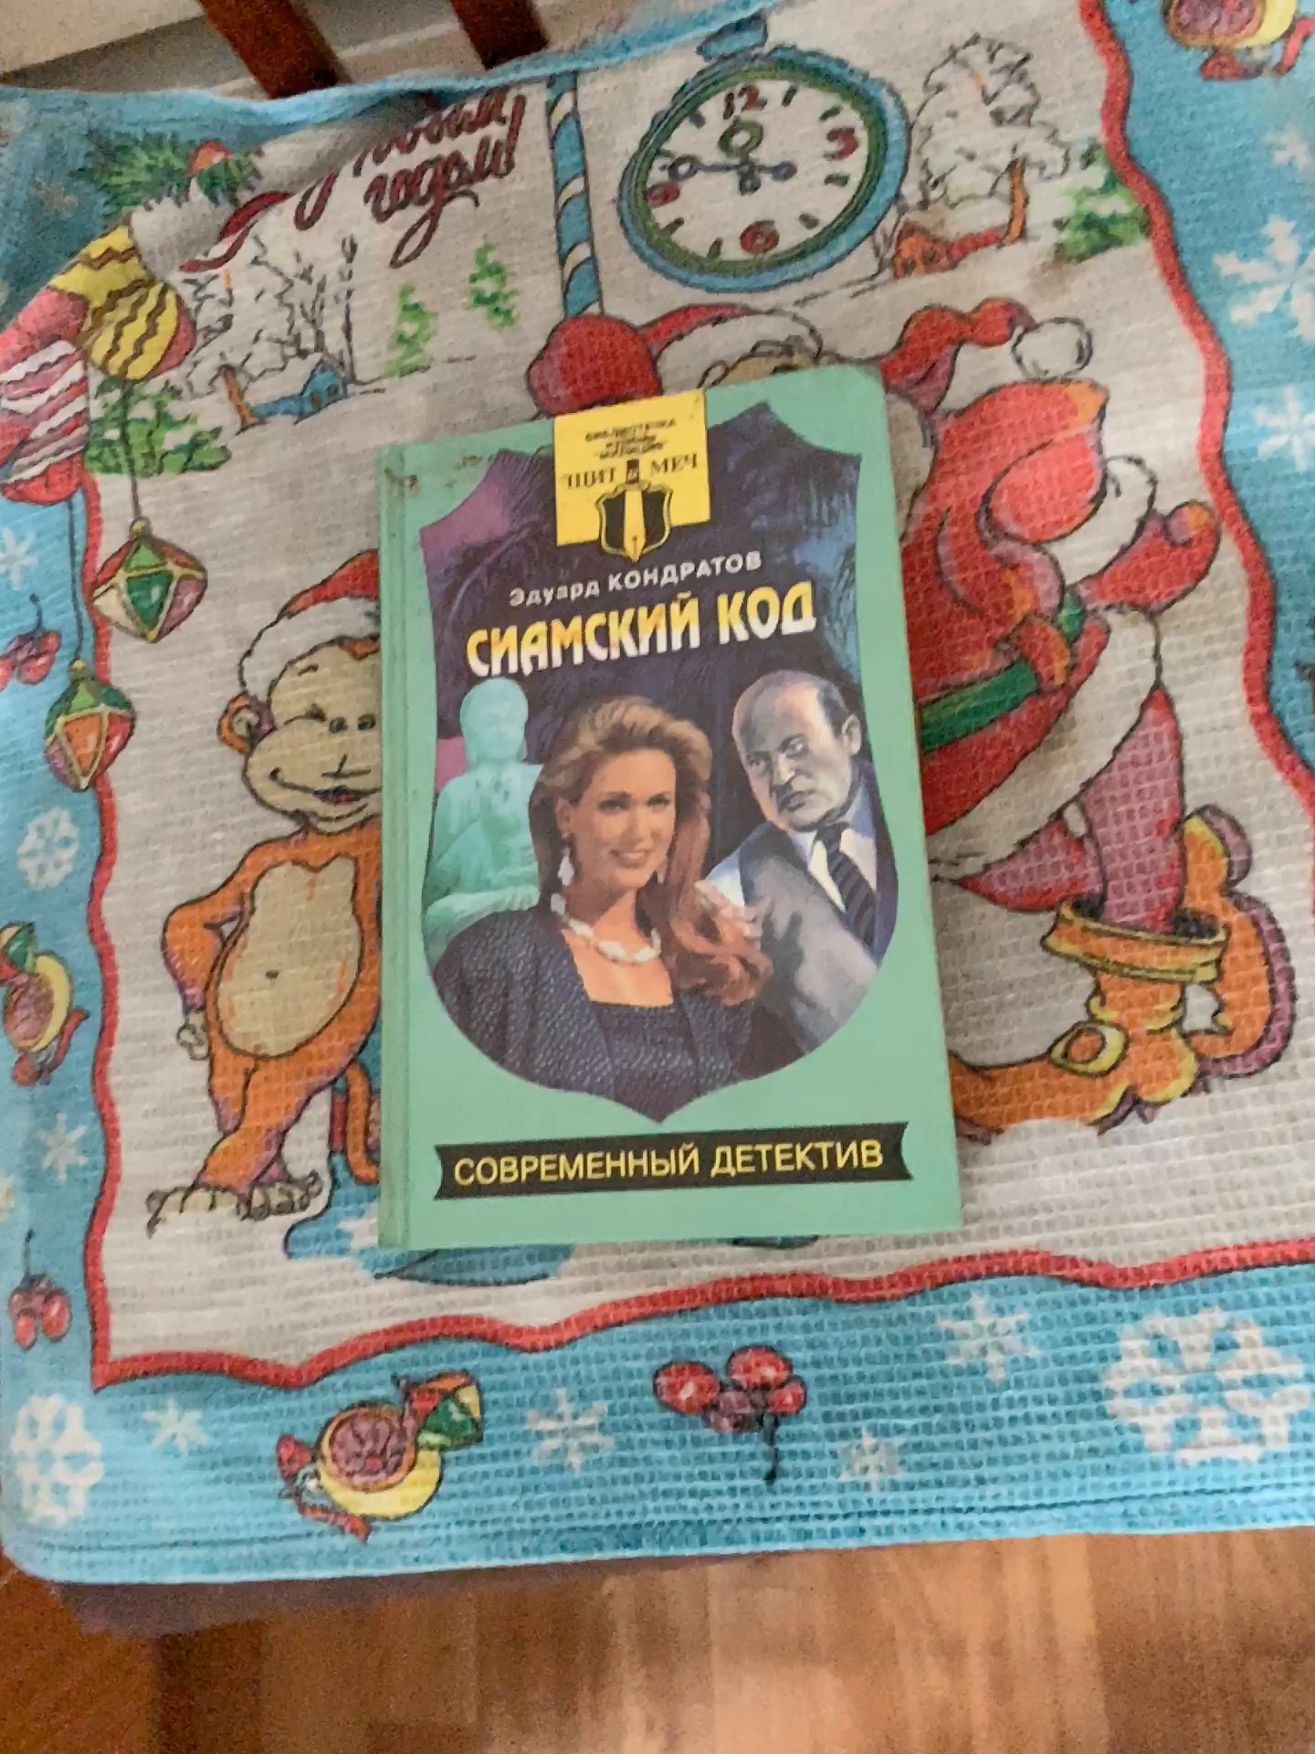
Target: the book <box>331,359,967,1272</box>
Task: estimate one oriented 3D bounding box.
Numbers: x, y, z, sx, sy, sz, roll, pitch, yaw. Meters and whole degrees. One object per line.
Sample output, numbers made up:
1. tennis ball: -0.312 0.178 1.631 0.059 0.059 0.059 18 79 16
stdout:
1. book: -0.009 -0.013 0.321 0.140 0.023 0.200 -6 77 14
